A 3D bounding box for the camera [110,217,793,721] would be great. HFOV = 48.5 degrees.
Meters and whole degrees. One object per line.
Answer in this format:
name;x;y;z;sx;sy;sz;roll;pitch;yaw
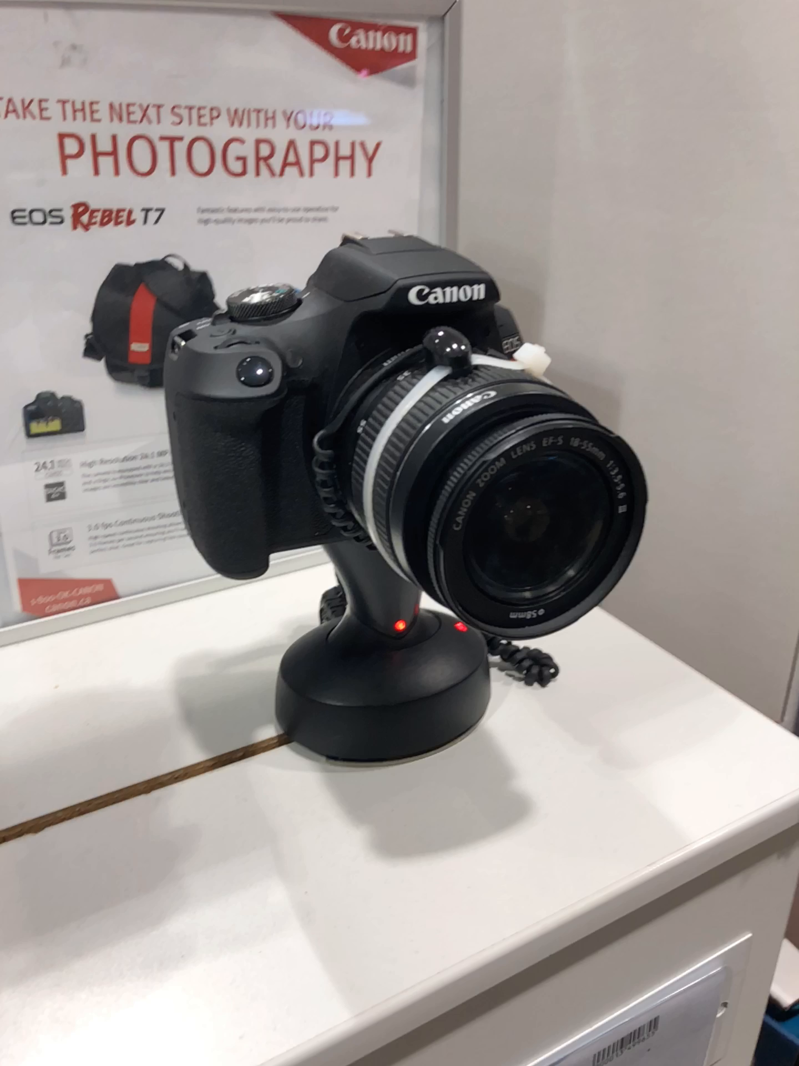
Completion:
camera;0.004;-0.038;0.268;0.140;0.090;0.140;-13;27;-24
